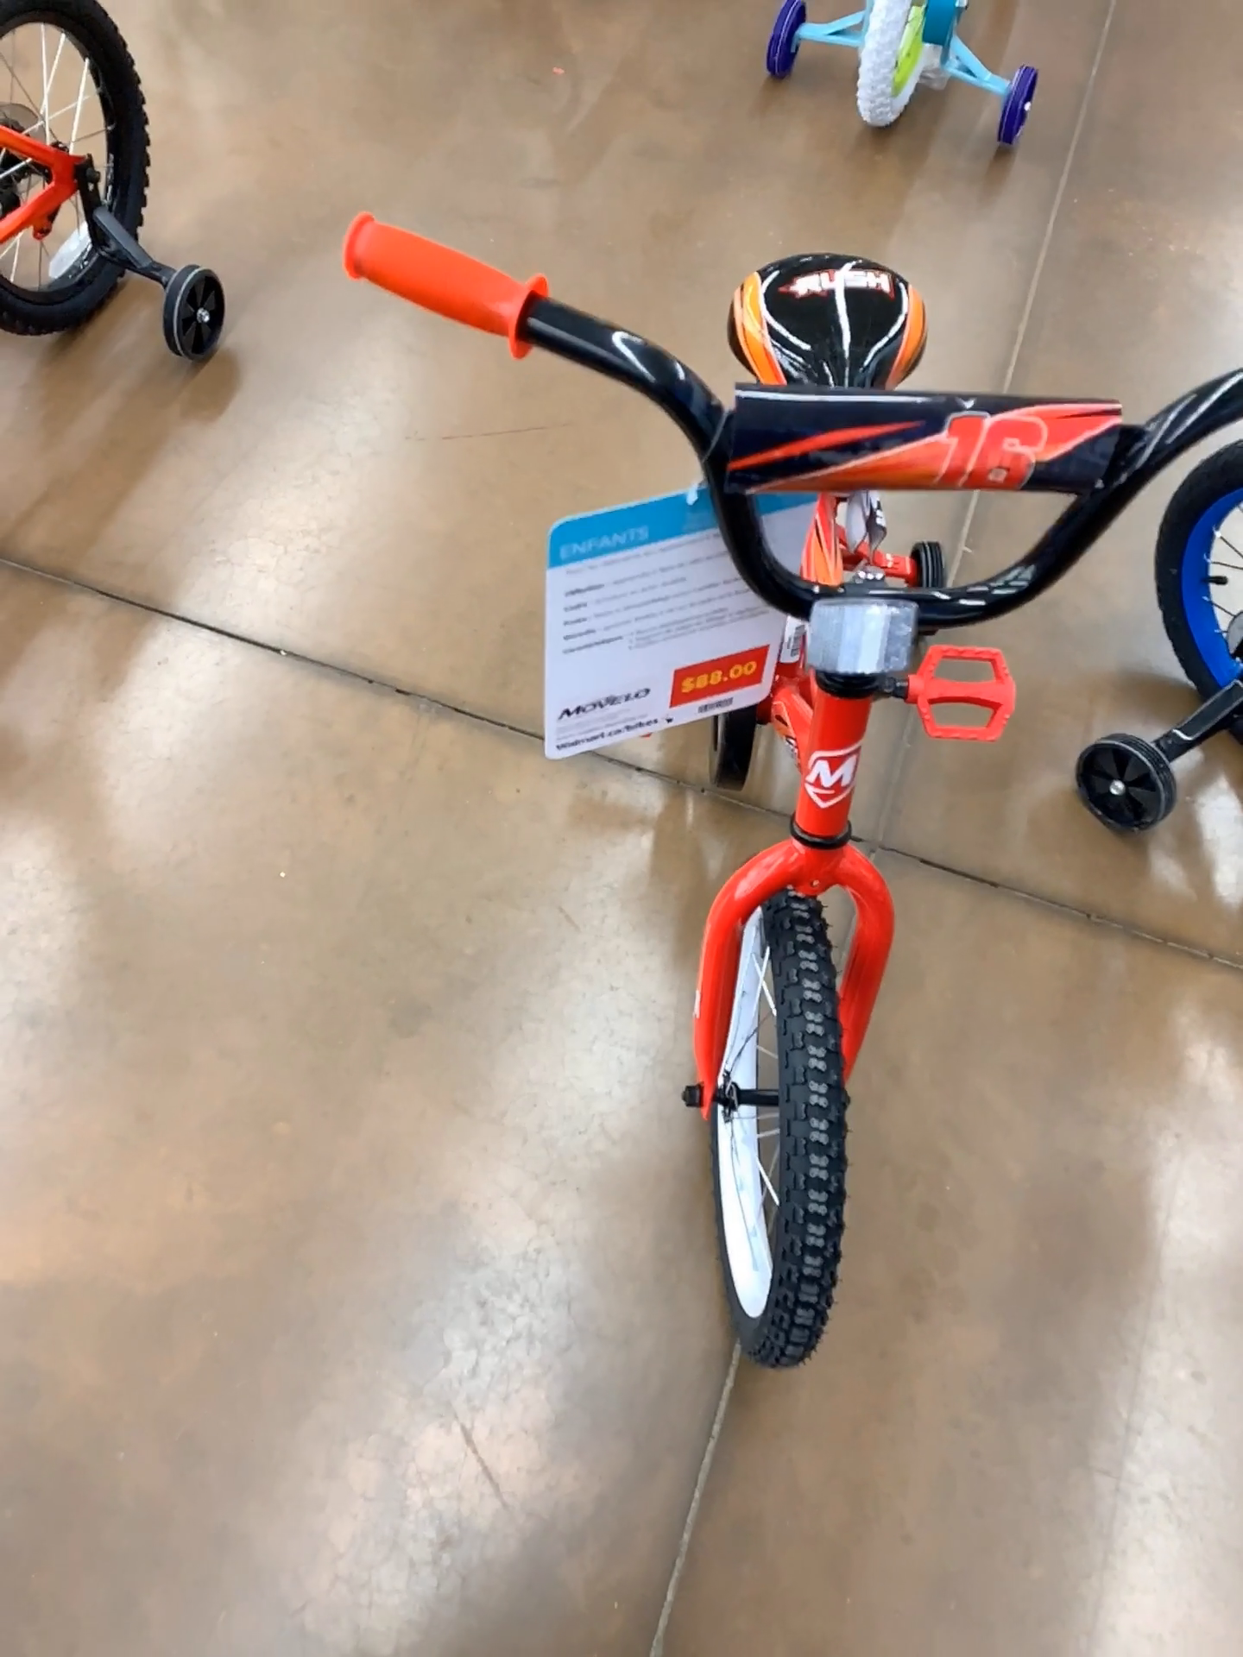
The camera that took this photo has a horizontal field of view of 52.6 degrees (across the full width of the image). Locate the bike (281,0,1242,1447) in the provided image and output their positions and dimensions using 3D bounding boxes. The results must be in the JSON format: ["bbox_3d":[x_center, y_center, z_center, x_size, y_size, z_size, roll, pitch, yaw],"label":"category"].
[{"bbox_3d":[0.161,-0.183,1.041,0.515,0.955,1.145,3,55,-2],"label":"bike"}]
